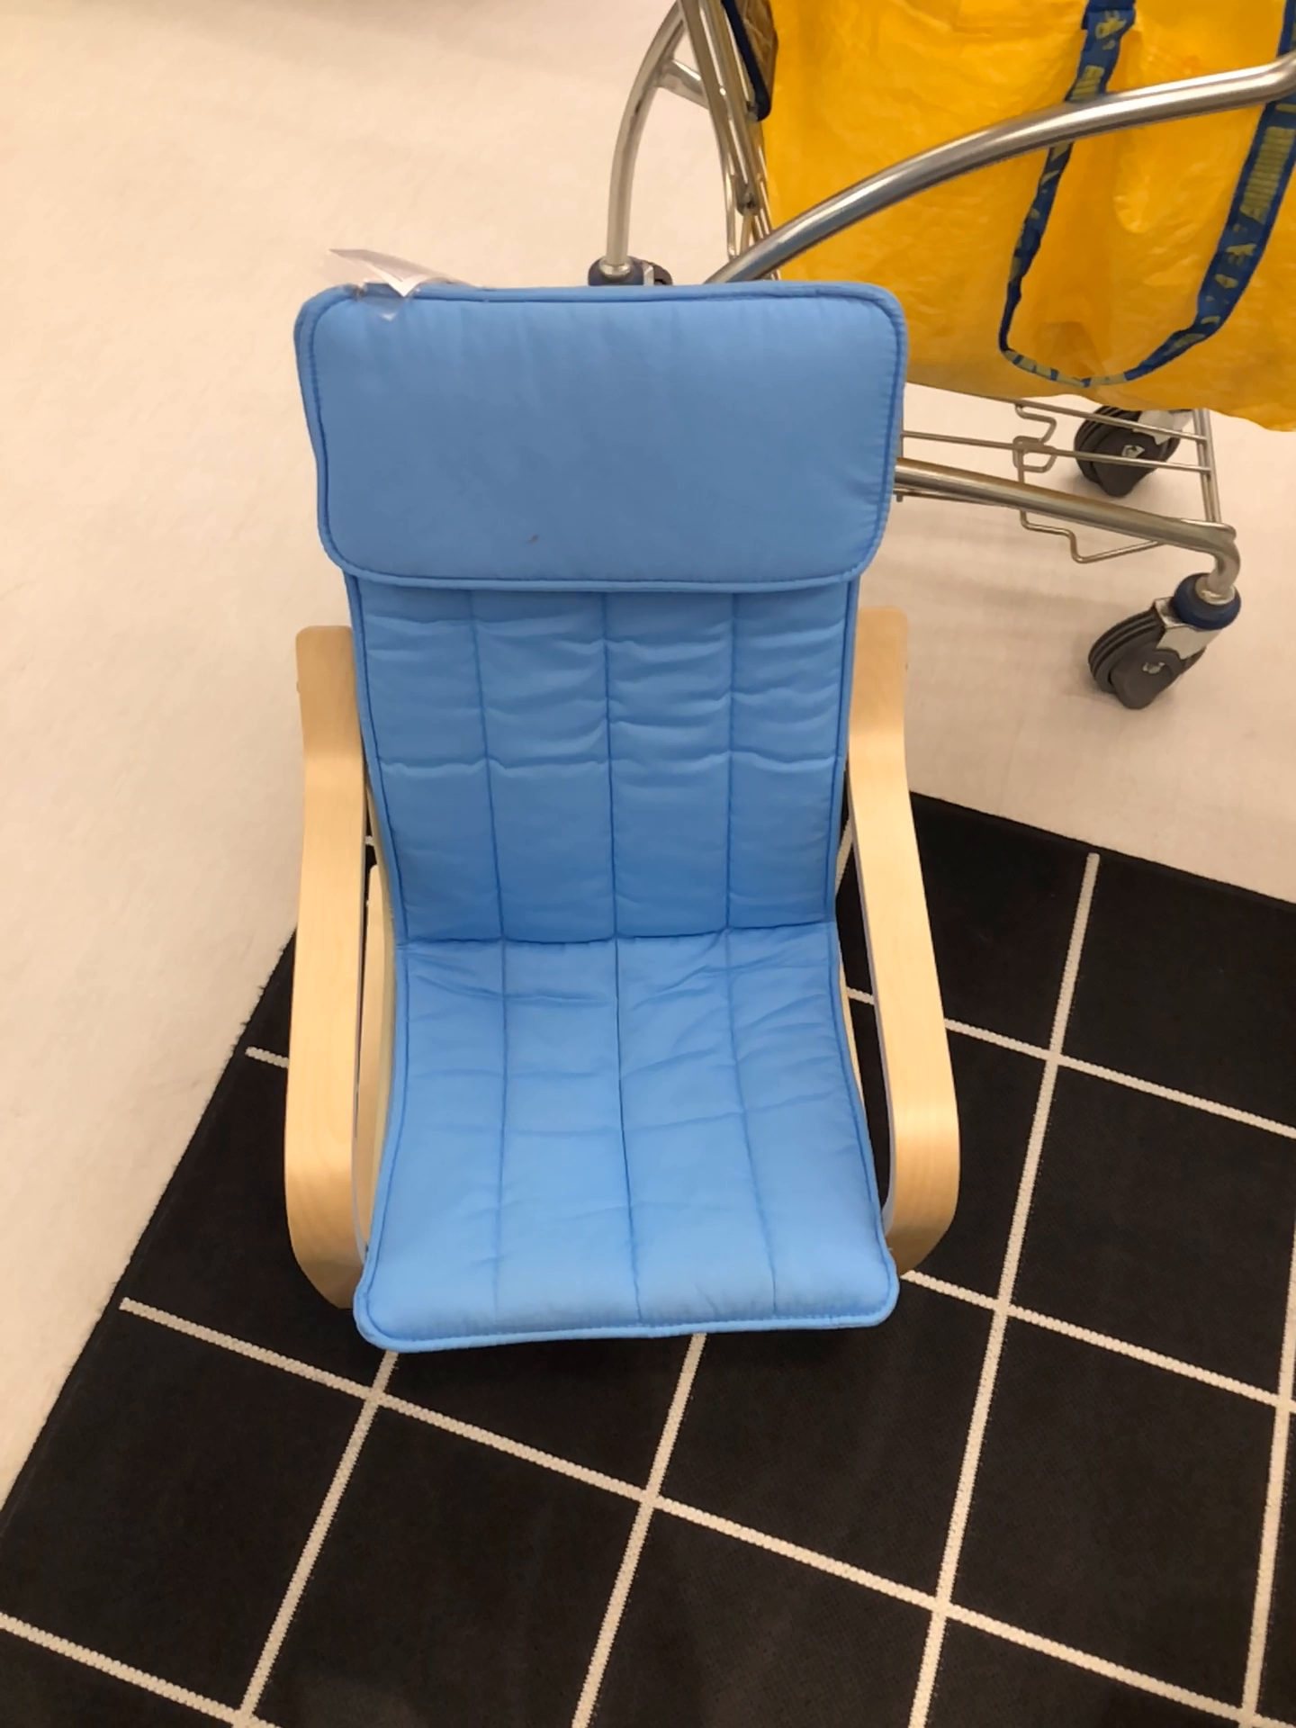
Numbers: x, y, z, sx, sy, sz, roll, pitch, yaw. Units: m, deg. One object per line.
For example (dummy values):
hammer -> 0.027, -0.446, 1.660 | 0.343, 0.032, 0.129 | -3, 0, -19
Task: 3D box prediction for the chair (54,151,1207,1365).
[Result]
chair -> -0.032, 0.017, 1.122 | 0.490, 0.876, 0.562 | -2, 61, -3
